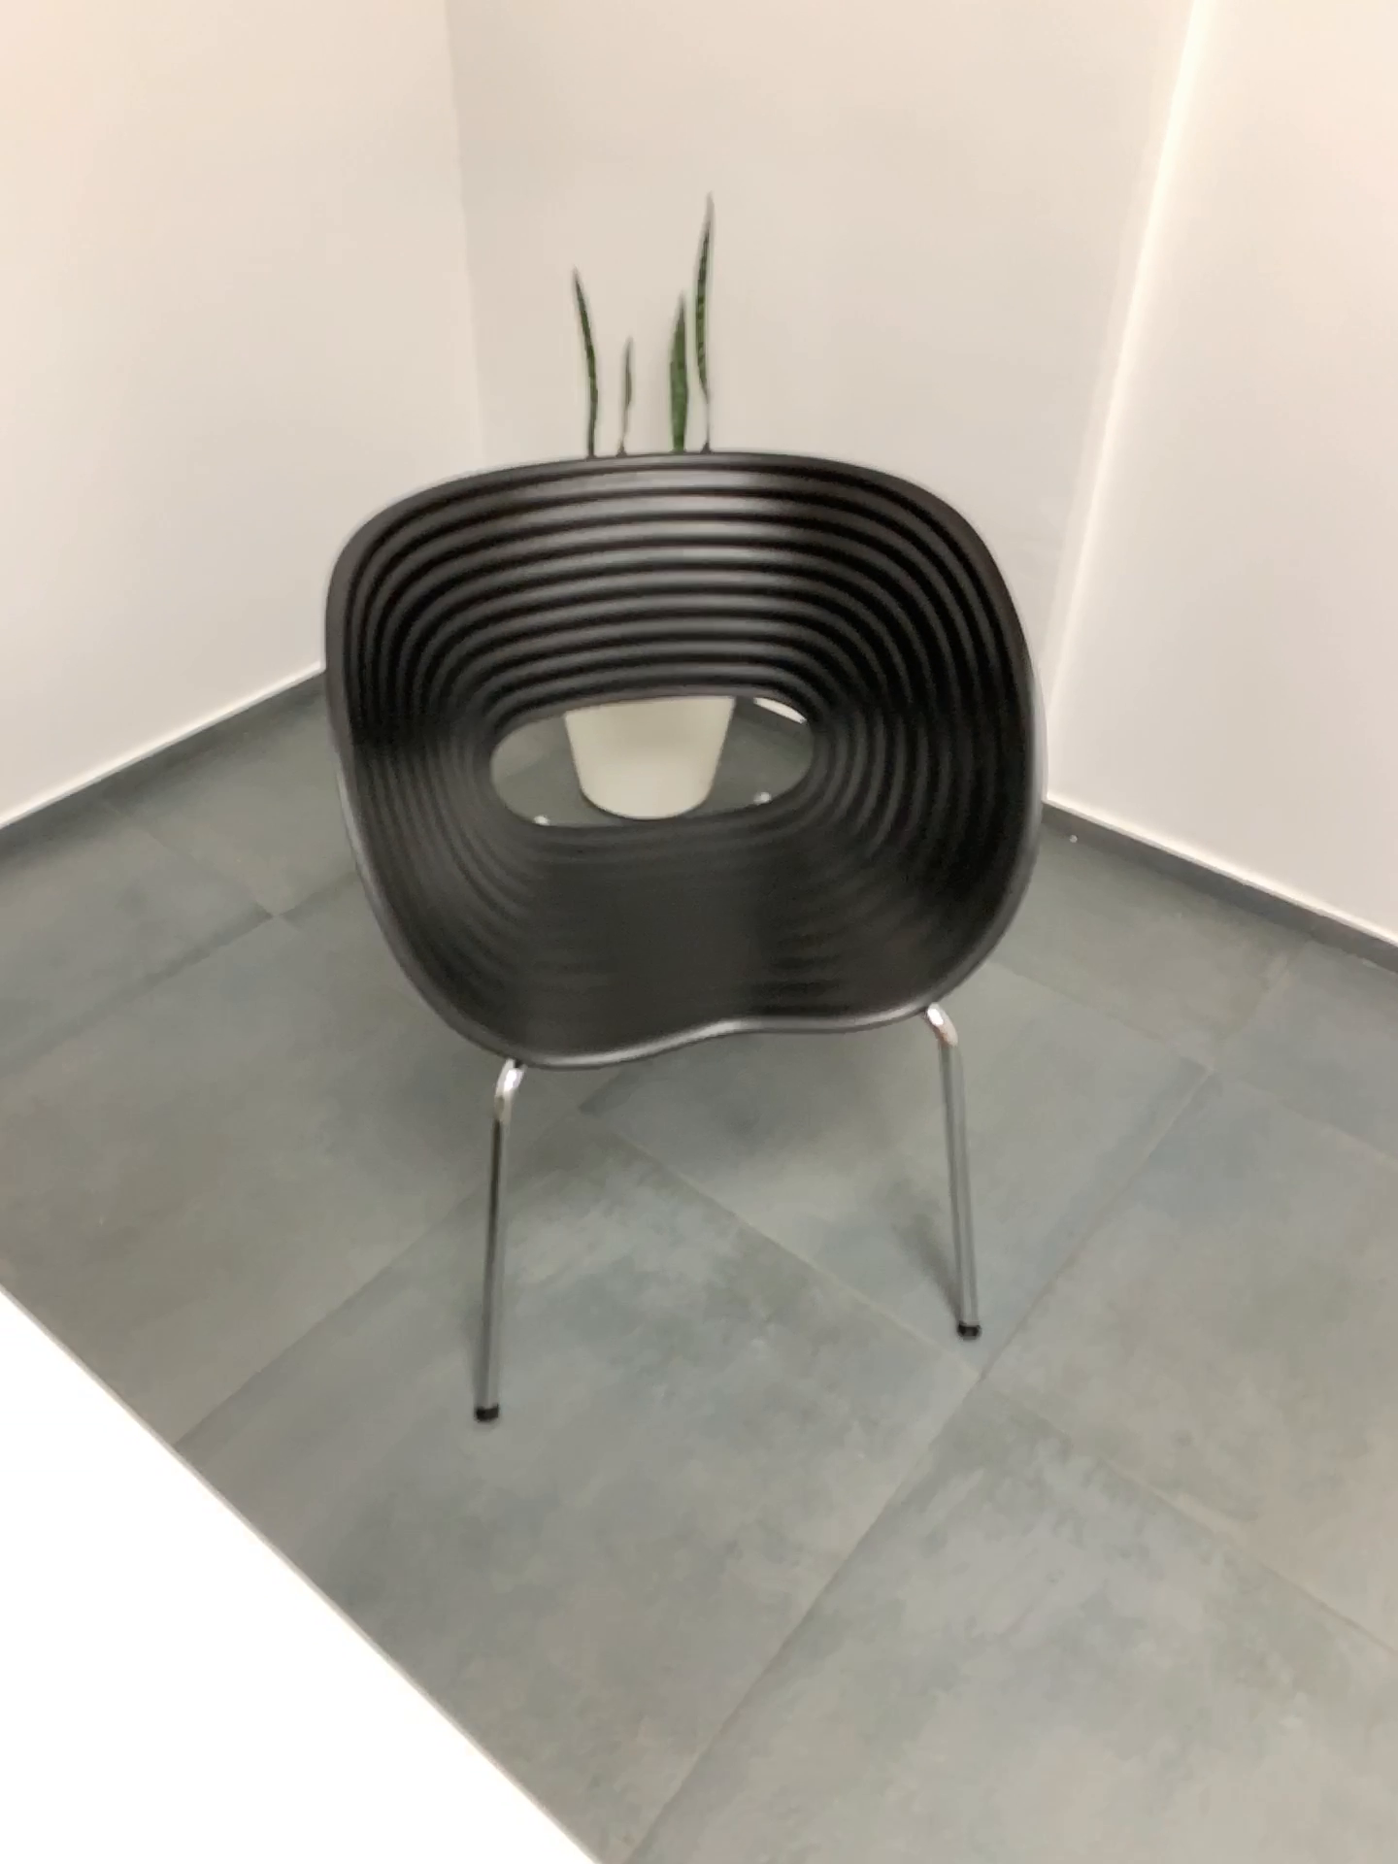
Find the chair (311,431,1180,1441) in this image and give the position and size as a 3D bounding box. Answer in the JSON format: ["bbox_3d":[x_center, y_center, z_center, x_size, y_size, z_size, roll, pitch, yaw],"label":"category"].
[{"bbox_3d":[-0.020,-0.009,1.526,0.650,0.796,0.643,-7,41,-9],"label":"chair"}]
